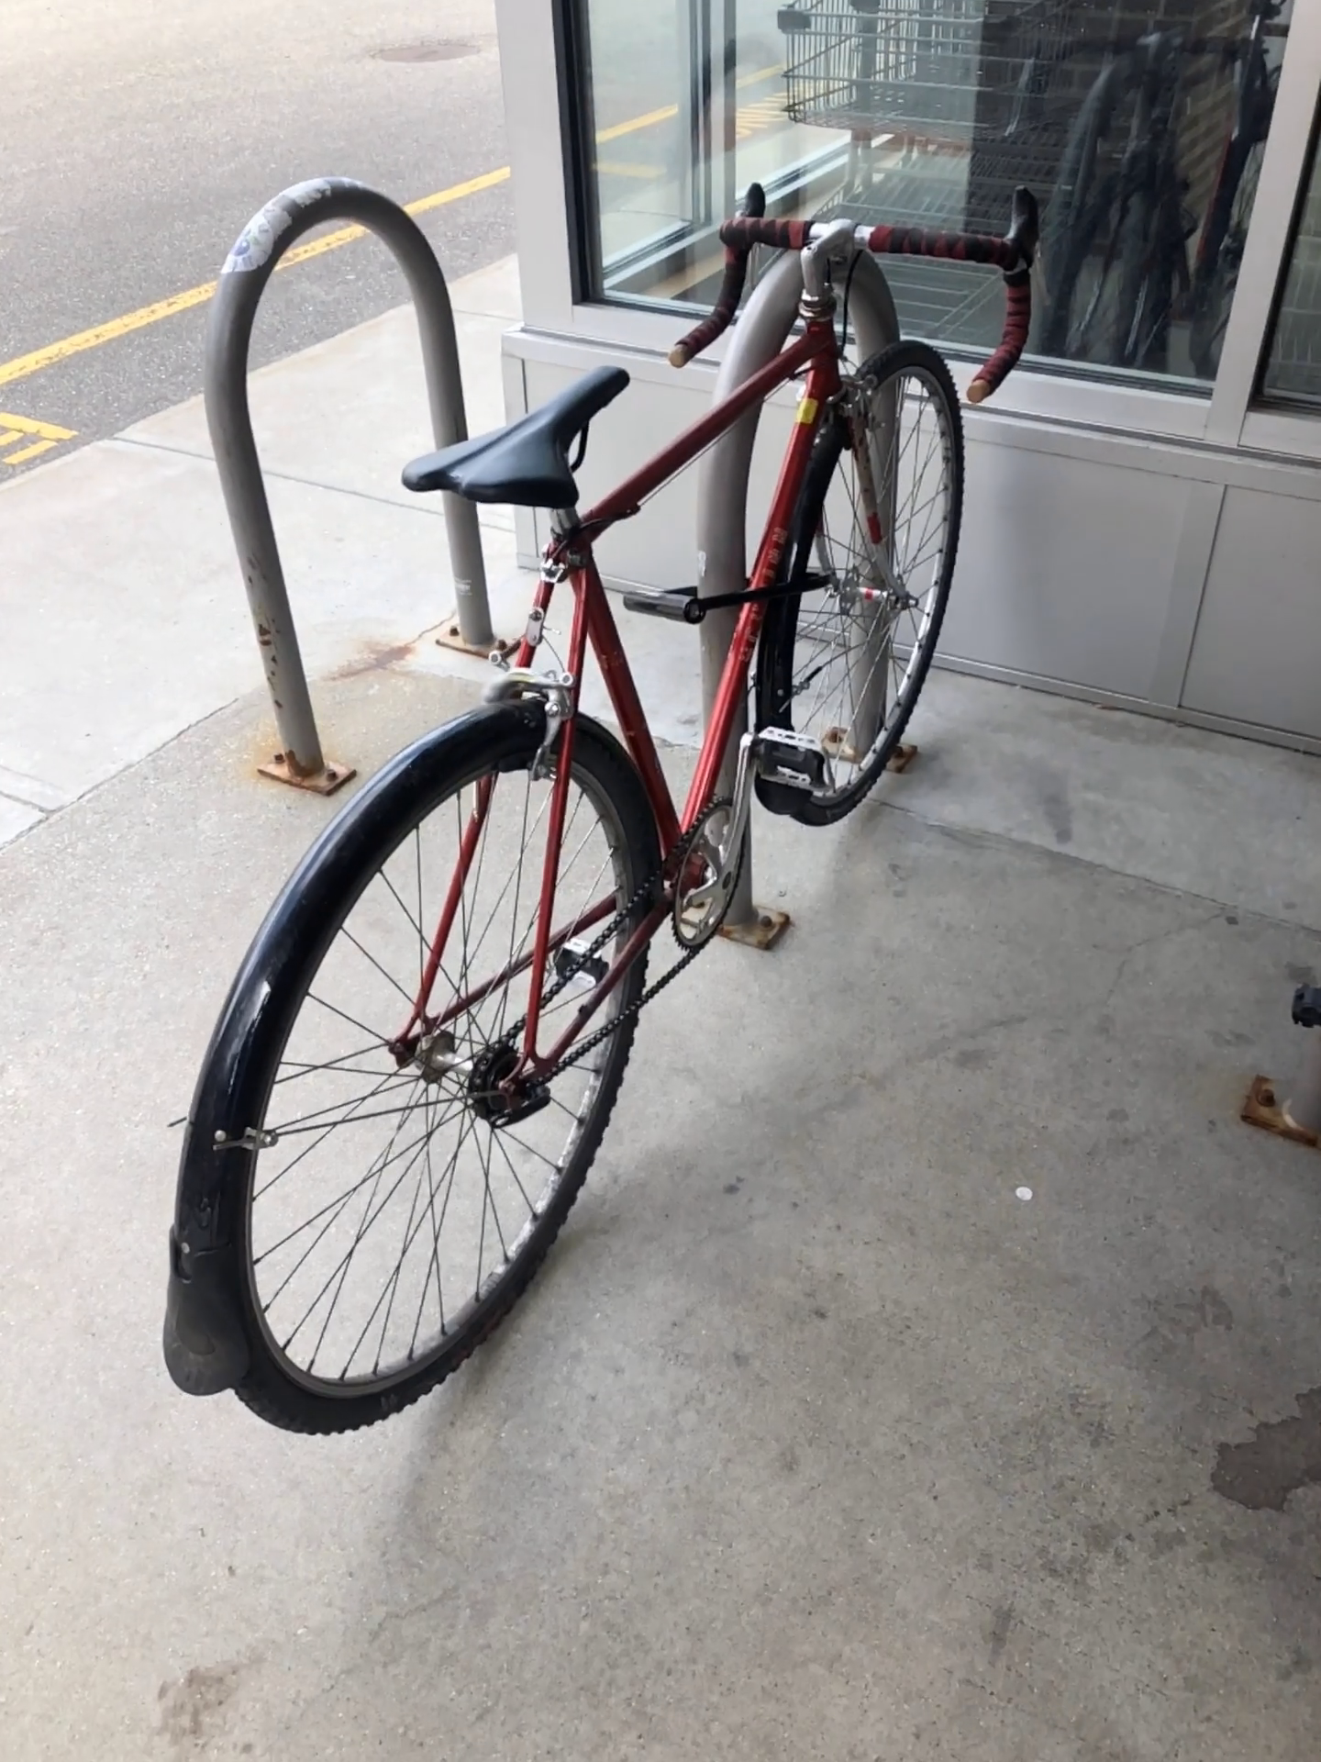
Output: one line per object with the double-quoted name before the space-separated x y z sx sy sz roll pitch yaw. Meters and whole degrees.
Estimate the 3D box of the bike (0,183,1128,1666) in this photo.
"bike" 0.043 -0.149 1.730 0.458 0.787 1.699 17 45 22
